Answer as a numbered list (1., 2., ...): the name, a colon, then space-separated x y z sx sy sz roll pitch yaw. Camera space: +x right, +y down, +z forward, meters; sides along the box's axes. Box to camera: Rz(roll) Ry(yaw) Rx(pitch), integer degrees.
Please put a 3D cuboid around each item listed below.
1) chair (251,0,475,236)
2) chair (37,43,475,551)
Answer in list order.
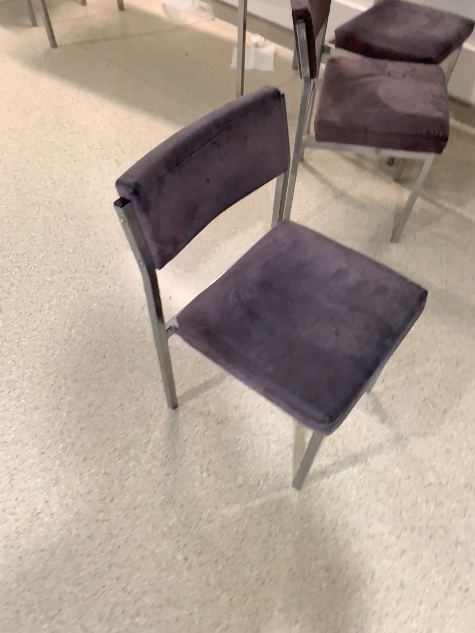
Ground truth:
1. chair: 0.404 -0.767 1.562 0.510 0.615 0.746 8 53 14
2. chair: 0.151 -0.085 1.014 0.682 0.506 0.683 34 59 21
